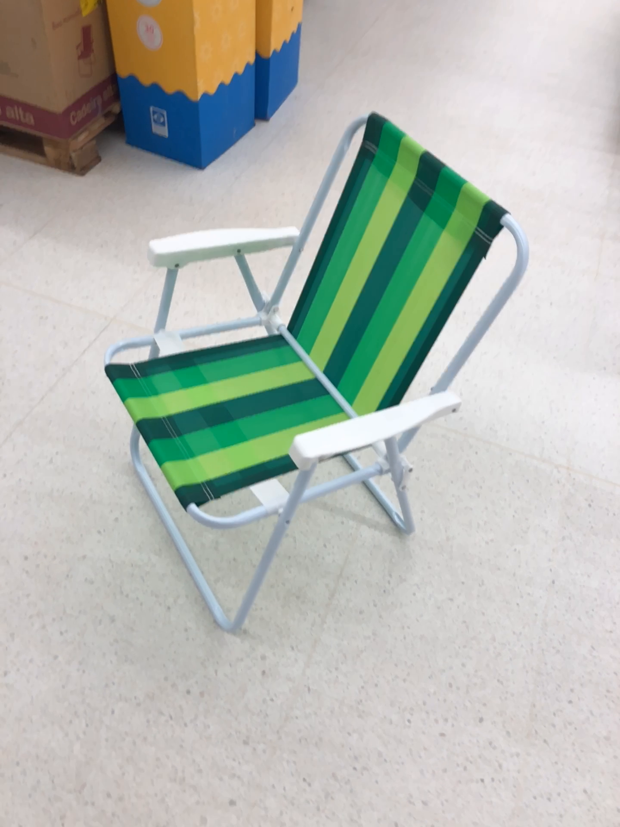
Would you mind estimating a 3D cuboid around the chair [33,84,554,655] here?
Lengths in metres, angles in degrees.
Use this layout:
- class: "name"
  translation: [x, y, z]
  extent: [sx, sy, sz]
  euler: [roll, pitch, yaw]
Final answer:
- class: "chair"
  translation: [-0.063, -0.066, 1.180]
  extent: [0.521, 0.715, 0.512]
  euler: [-22, 54, -23]
